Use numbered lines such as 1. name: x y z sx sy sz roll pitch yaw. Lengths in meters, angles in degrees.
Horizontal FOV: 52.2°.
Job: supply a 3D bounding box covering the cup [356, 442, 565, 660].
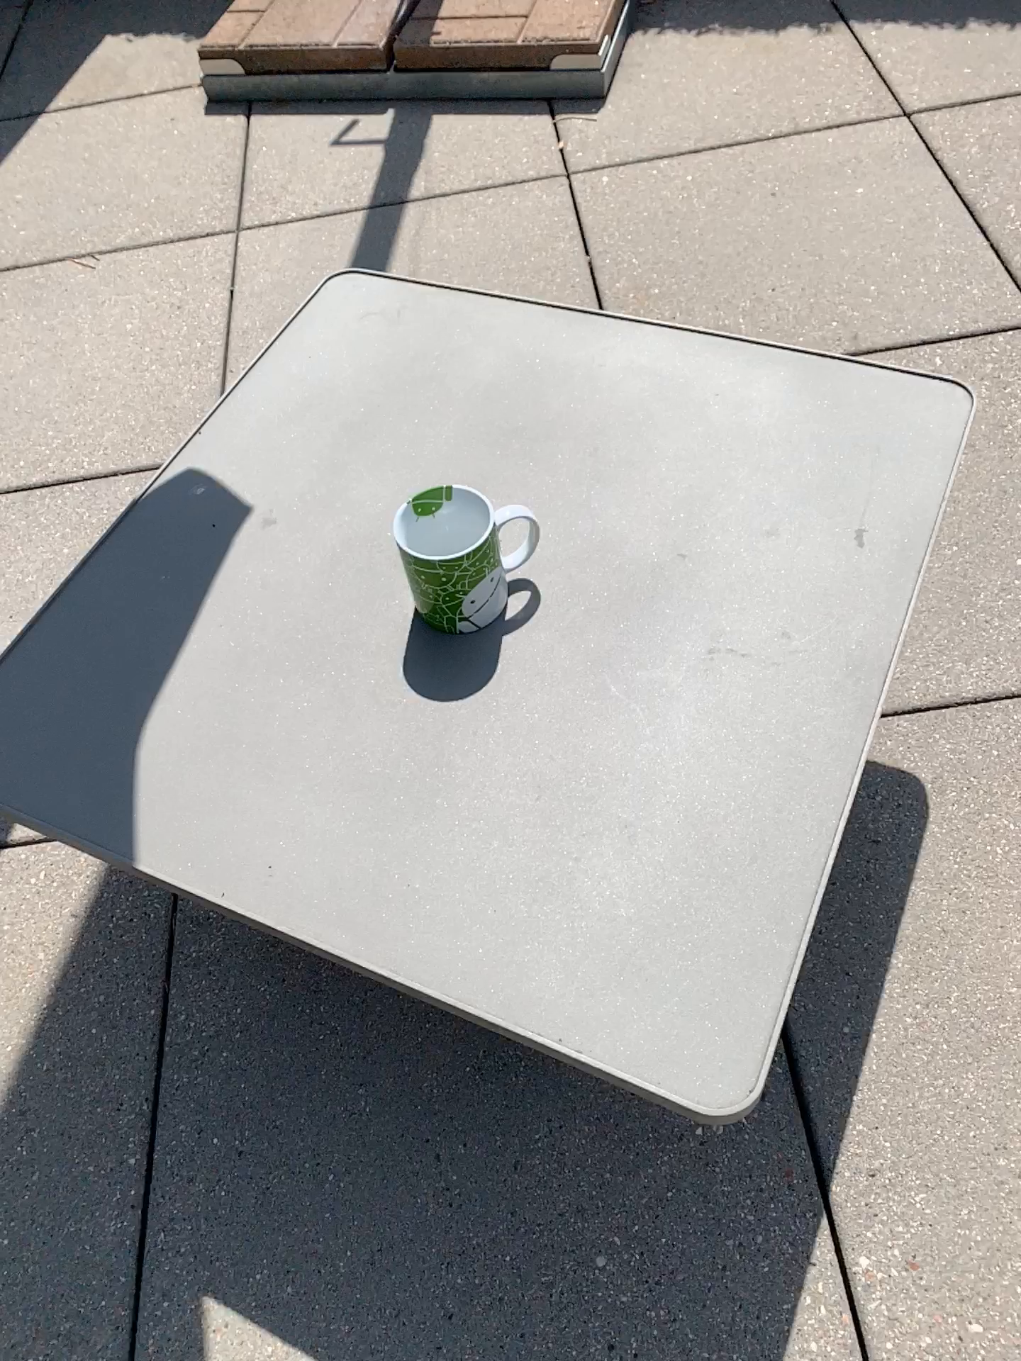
1. cup: -0.037 -0.101 0.813 0.120 0.090 0.090 -33 56 -14
